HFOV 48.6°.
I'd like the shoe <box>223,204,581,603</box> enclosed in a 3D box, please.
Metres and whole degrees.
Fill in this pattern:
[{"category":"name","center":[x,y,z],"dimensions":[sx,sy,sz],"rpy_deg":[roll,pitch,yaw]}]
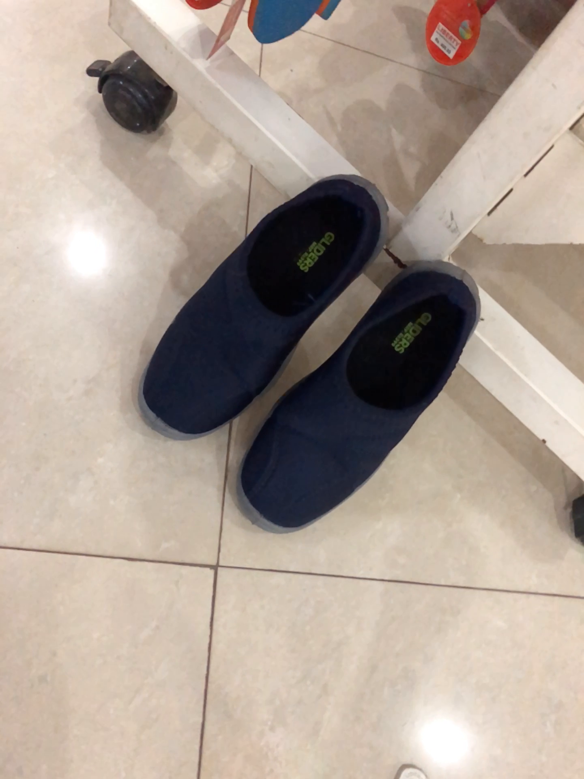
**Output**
[{"category":"shoe","center":[0.142,0.020,0.909],"dimensions":[0.186,0.208,0.489],"rpy_deg":[38,85,4]}]

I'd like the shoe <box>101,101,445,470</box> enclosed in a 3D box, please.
[{"category":"shoe","center":[-0.022,-0.126,0.889],"dimensions":[0.160,0.200,0.460],"rpy_deg":[40,87,1]}]
